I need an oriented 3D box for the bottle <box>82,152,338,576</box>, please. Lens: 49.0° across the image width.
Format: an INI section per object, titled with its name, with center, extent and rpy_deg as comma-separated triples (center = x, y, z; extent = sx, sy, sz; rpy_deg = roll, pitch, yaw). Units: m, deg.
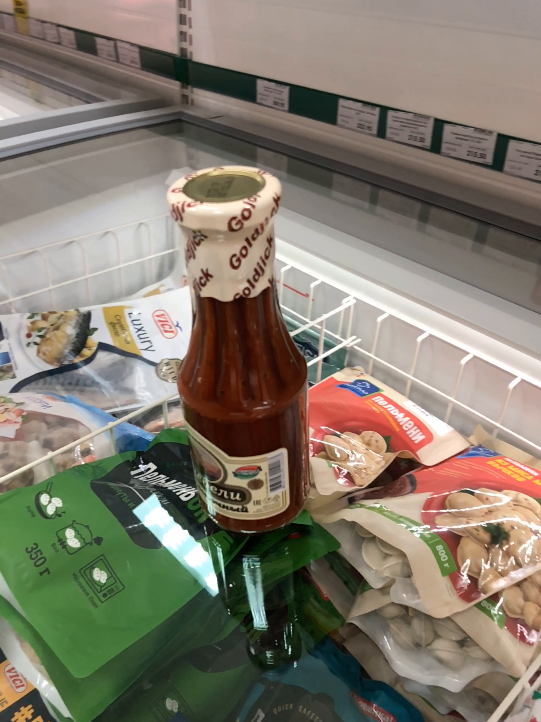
[bottle]
center = -0.021, 0.007, 0.283
extent = 0.070, 0.179, 0.070
rpy_deg = -1, 38, 1
